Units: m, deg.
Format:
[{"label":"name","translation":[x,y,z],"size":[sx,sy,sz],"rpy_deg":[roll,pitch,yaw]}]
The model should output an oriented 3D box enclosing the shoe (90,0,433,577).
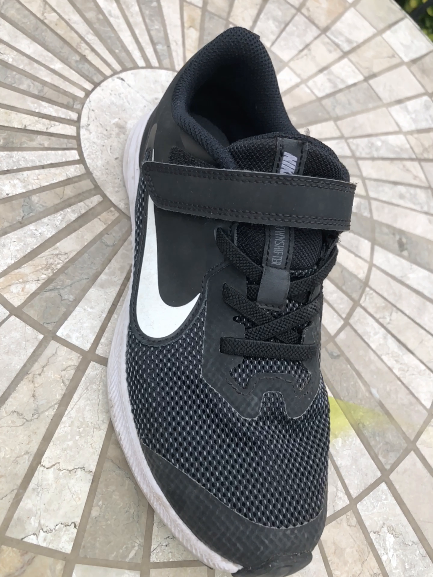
[{"label":"shoe","translation":[0.010,-0.005,0.212],"size":[0.100,0.099,0.250],"rpy_deg":[3,67,-26]}]
